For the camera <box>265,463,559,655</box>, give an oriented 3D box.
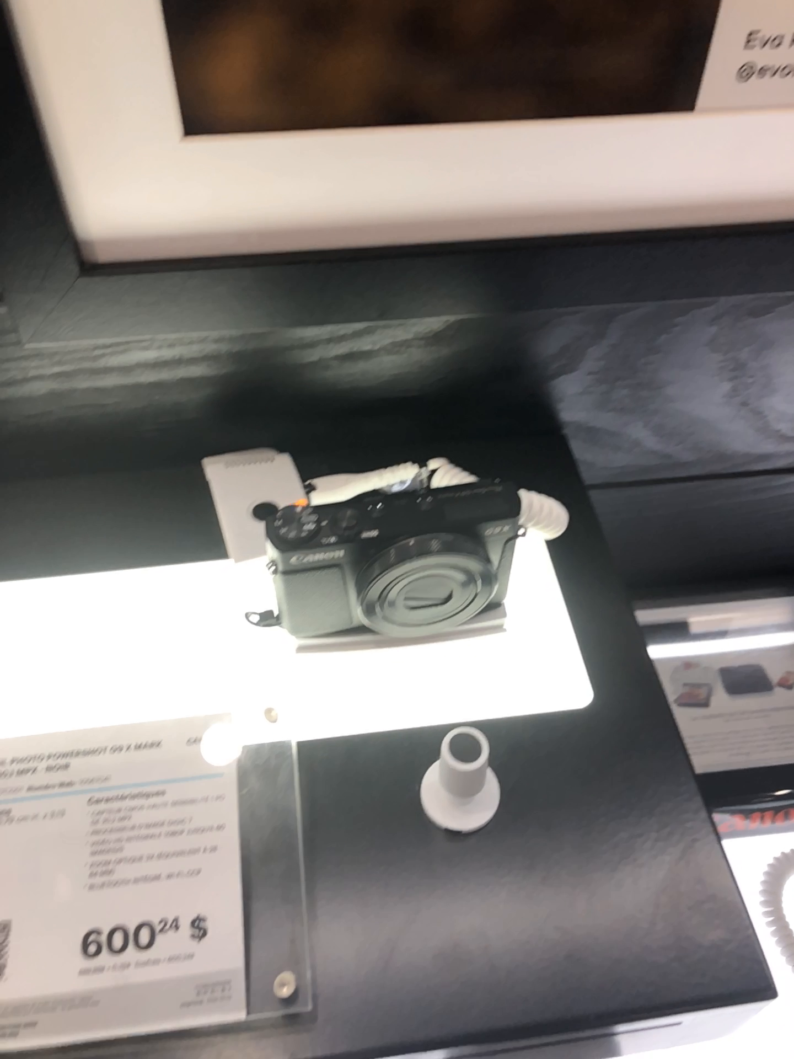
[{"bbox_3d":[0.005,0.012,0.330,0.100,0.058,0.025,-8,48,-9],"label":"camera"}]
